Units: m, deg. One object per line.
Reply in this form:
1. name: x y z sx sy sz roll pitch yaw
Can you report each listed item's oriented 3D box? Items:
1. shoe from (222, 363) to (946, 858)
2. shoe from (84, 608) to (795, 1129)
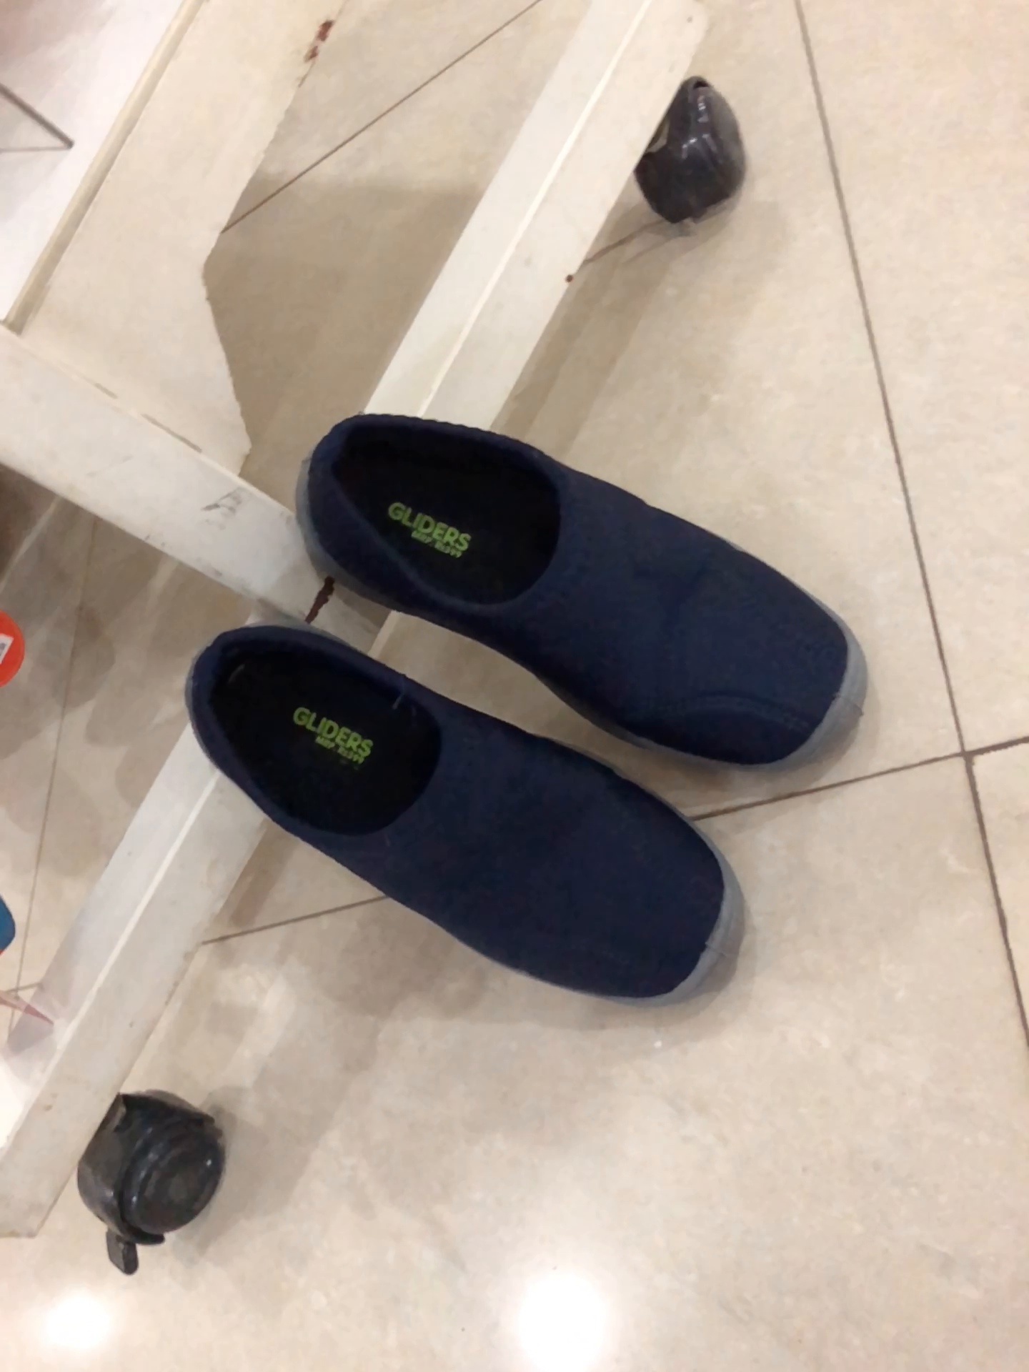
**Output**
1. shoe: 0.051 -0.051 0.926 0.490 0.207 0.186 23 83 10
2. shoe: -0.052 0.134 0.866 0.461 0.200 0.160 25 80 9
